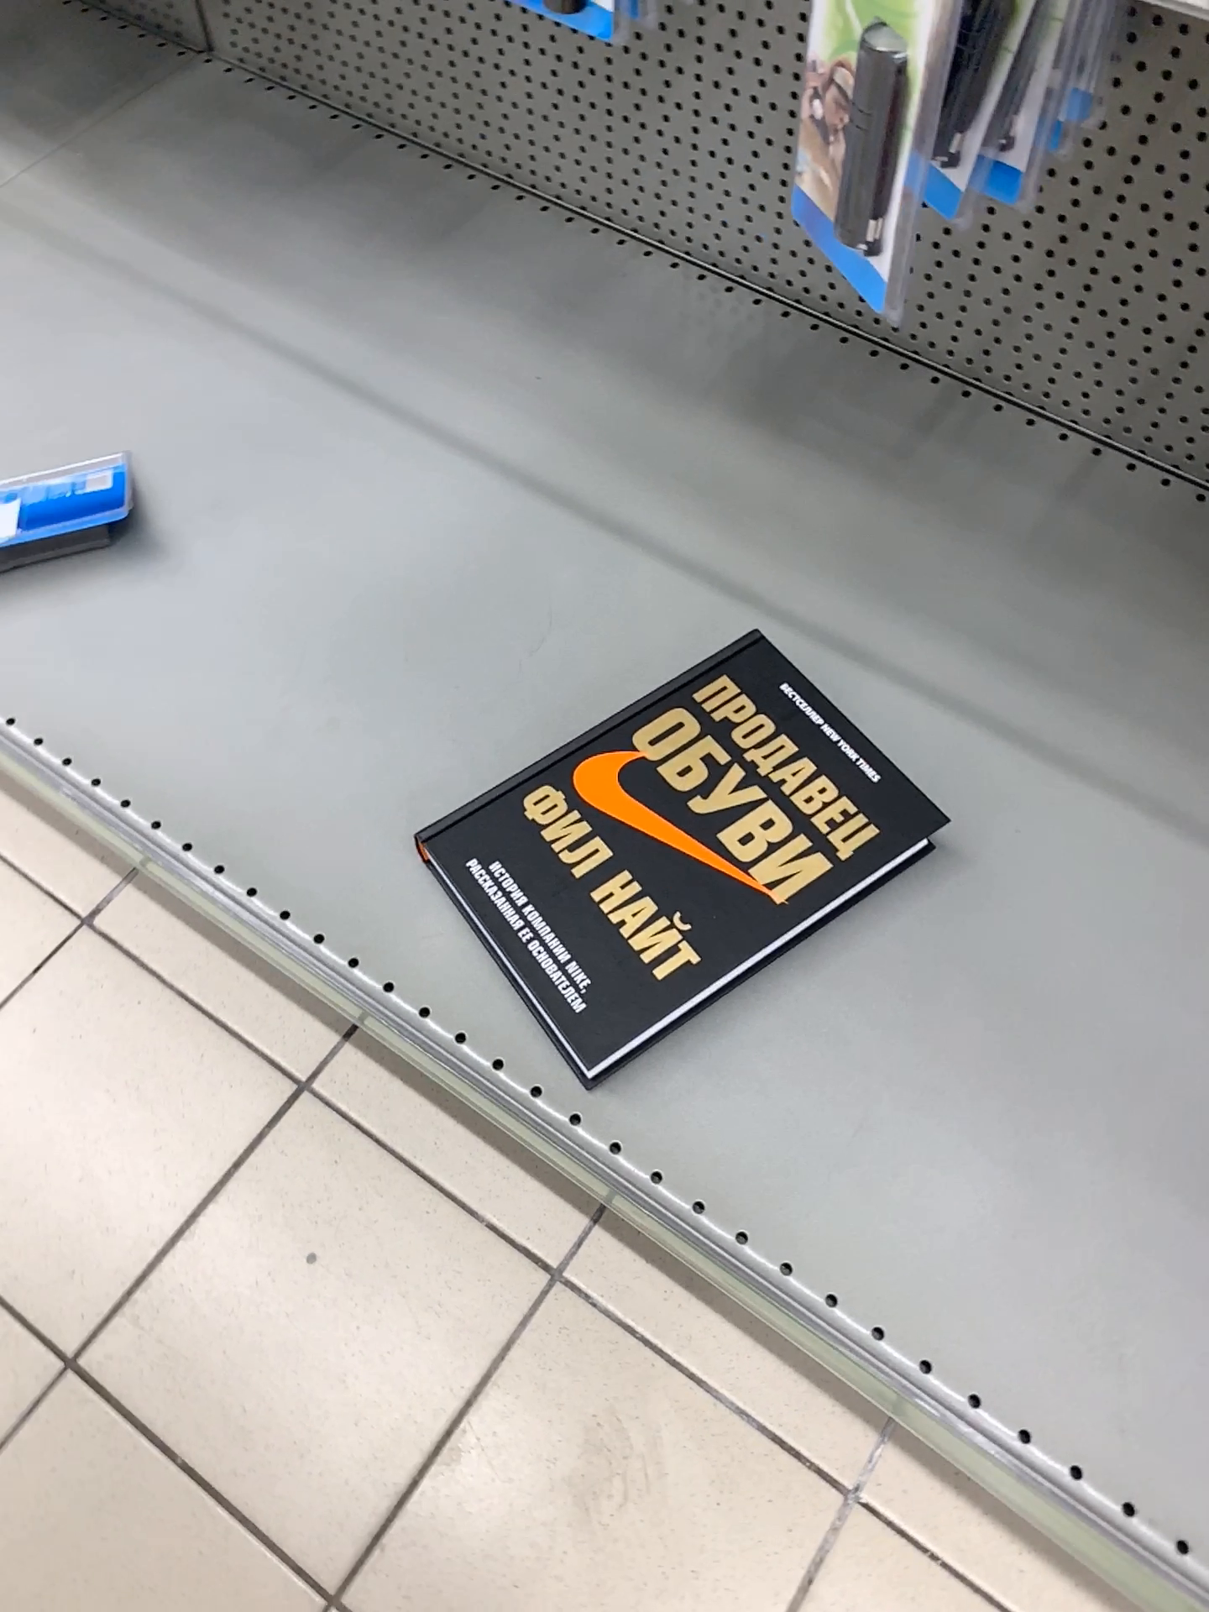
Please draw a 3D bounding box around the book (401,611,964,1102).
[{"bbox_3d":[0.042,0.017,0.680,0.250,0.042,0.170,-31,64,-16],"label":"book"}]
